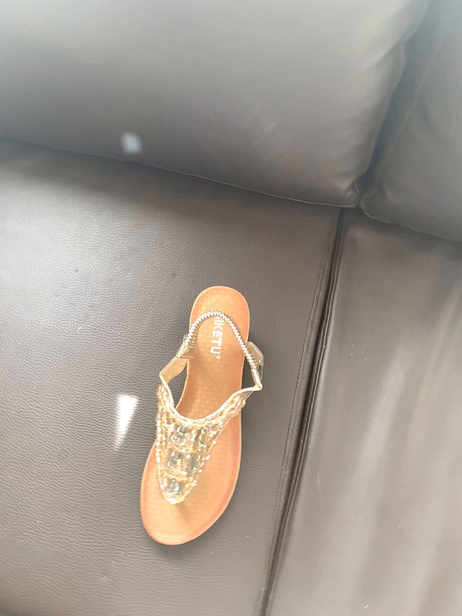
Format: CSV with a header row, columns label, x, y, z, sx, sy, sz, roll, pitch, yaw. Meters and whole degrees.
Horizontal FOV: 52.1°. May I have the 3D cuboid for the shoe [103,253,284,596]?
label,x,y,z,sx,sy,sz,roll,pitch,yaw
shoe,-0.027,0.104,0.470,0.100,0.140,0.271,11,74,1
